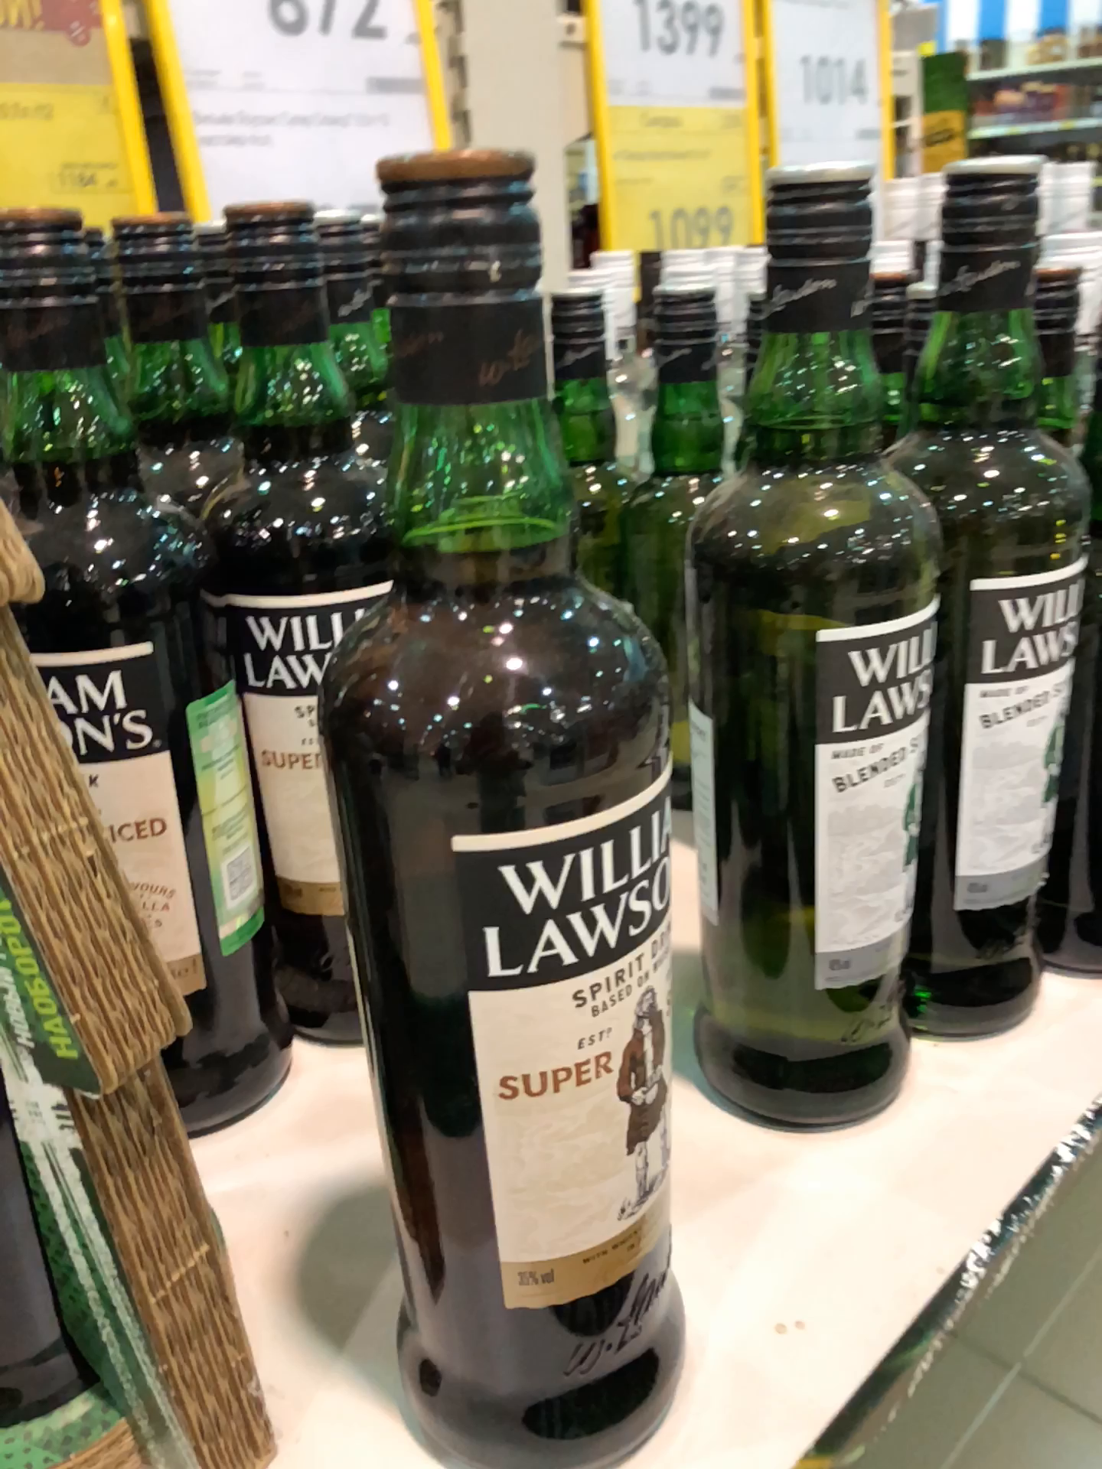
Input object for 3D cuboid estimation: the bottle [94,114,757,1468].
[{"bbox_3d":[-0.014,0.033,0.275,0.090,0.298,0.080,13,26,36],"label":"bottle"}]
